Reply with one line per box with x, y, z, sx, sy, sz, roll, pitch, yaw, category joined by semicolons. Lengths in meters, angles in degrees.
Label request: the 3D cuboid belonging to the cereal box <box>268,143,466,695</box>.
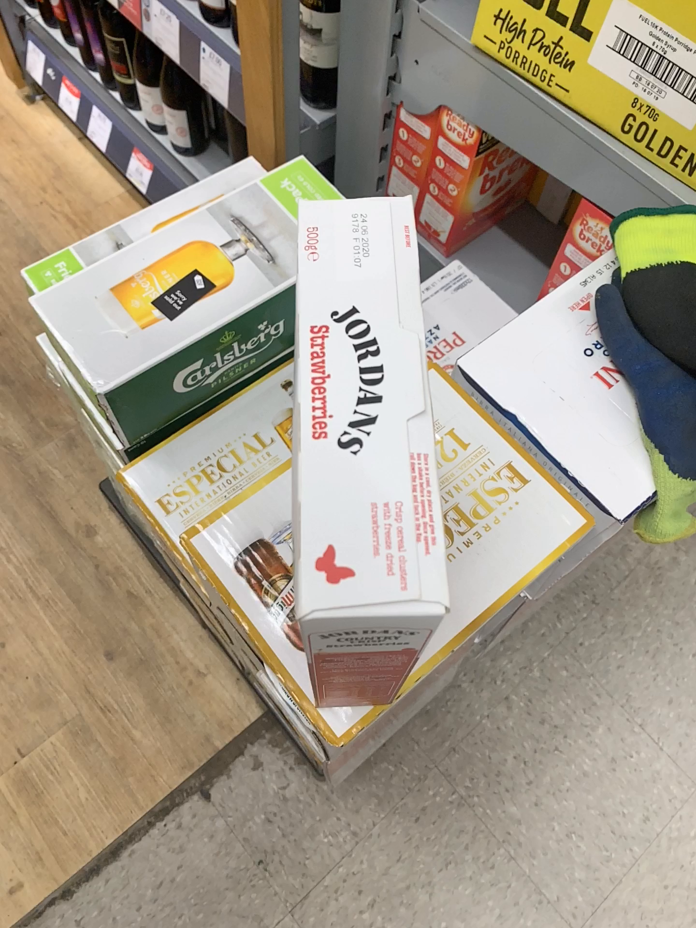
0.002;0.005;0.369;0.060;0.249;0.191;-1;66;-1;cereal box
